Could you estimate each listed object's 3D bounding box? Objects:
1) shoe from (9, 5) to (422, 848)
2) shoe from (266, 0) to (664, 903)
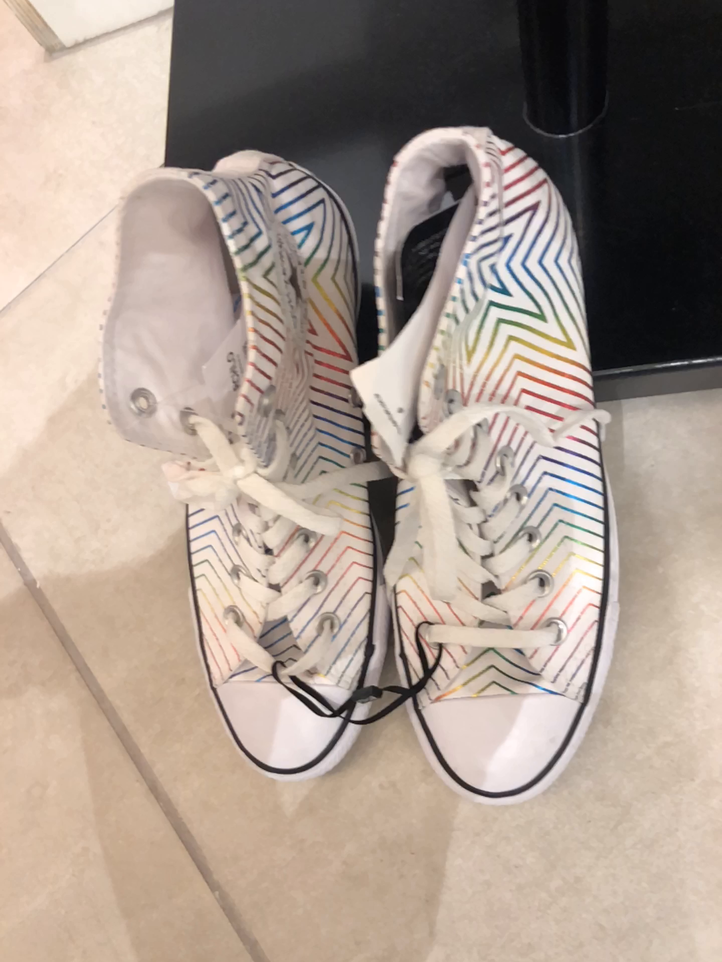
[{"bbox_3d":[-0.053,-0.018,0.368,0.120,0.140,0.300,-3,91,15],"label":"shoe"},{"bbox_3d":[0.046,-0.017,0.332,0.120,0.140,0.300,-3,84,15],"label":"shoe"}]
